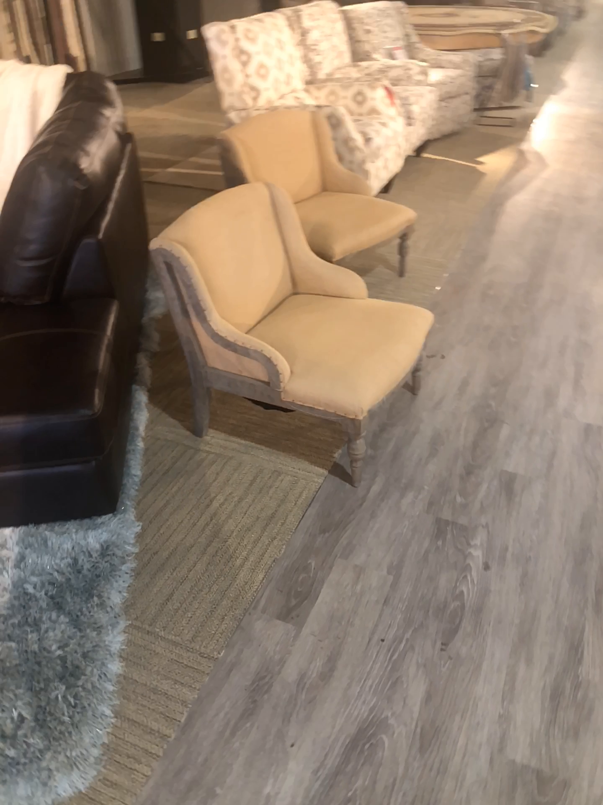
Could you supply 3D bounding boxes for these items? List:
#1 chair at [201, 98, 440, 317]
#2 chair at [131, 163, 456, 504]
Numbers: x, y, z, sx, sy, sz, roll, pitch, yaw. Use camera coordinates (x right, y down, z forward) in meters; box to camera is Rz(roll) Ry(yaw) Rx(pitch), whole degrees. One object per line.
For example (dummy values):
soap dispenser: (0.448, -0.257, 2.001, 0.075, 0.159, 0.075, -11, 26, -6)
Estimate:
chair: (0.079, -0.861, 2.808, 0.720, 0.625, 0.629, 25, 42, 32)
chair: (0.011, -0.248, 1.983, 0.669, 0.685, 0.639, 15, 38, 21)
